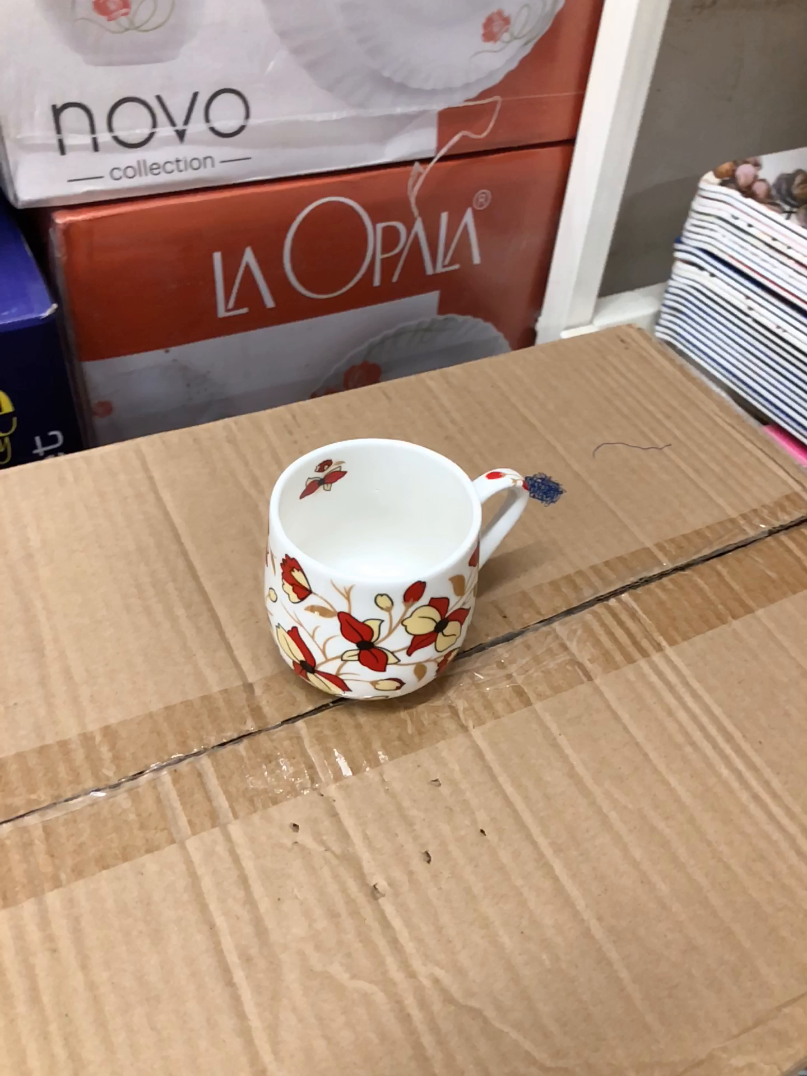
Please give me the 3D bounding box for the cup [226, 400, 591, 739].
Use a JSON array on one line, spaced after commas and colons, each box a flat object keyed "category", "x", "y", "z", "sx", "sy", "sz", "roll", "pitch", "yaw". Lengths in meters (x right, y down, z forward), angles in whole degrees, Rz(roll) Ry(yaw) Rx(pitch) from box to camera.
[{"category": "cup", "x": -0.001, "y": 0.007, "z": 0.284, "sx": 0.090, "sy": 0.060, "sz": 0.060, "roll": -17, "pitch": 48, "yaw": -23}]
